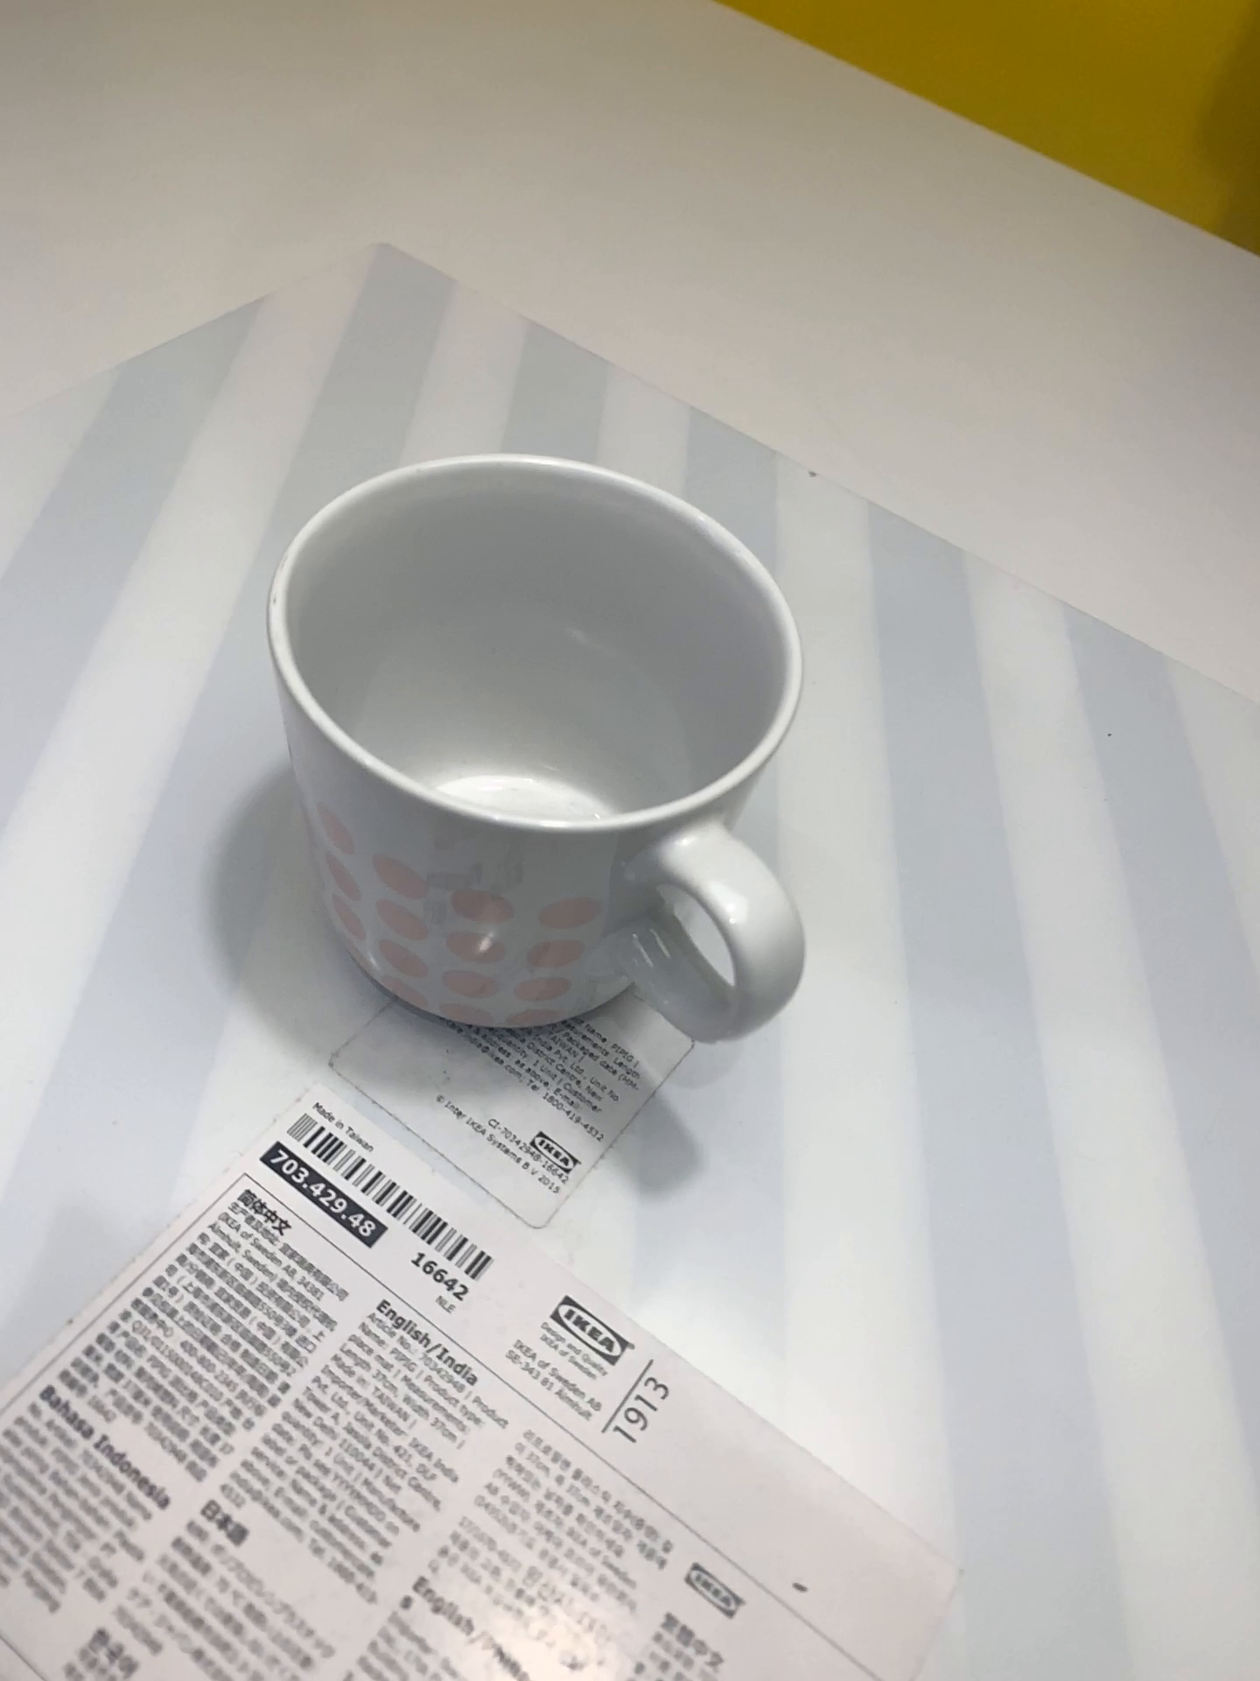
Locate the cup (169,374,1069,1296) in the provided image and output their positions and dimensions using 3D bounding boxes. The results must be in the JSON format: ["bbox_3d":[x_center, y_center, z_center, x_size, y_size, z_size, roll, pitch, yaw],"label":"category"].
[{"bbox_3d":[-0.008,-0.005,0.220,0.080,0.080,0.110,-31,63,-31],"label":"cup"}]
